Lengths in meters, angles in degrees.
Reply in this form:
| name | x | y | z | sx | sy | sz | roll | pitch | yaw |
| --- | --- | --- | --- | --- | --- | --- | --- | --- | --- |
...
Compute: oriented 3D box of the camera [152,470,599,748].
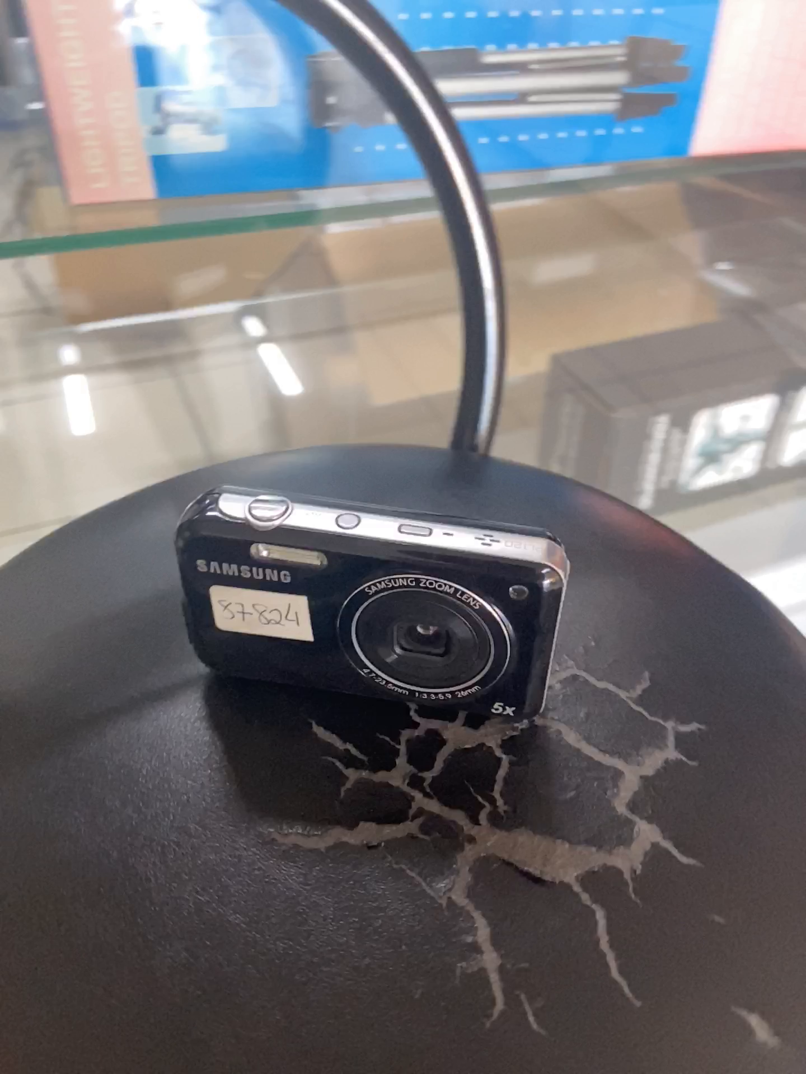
| name | x | y | z | sx | sy | sz | roll | pitch | yaw |
| --- | --- | --- | --- | --- | --- | --- | --- | --- | --- |
| camera | -0.005 | 0.018 | 0.212 | 0.100 | 0.050 | 0.030 | 7 | 40 | 8 |
